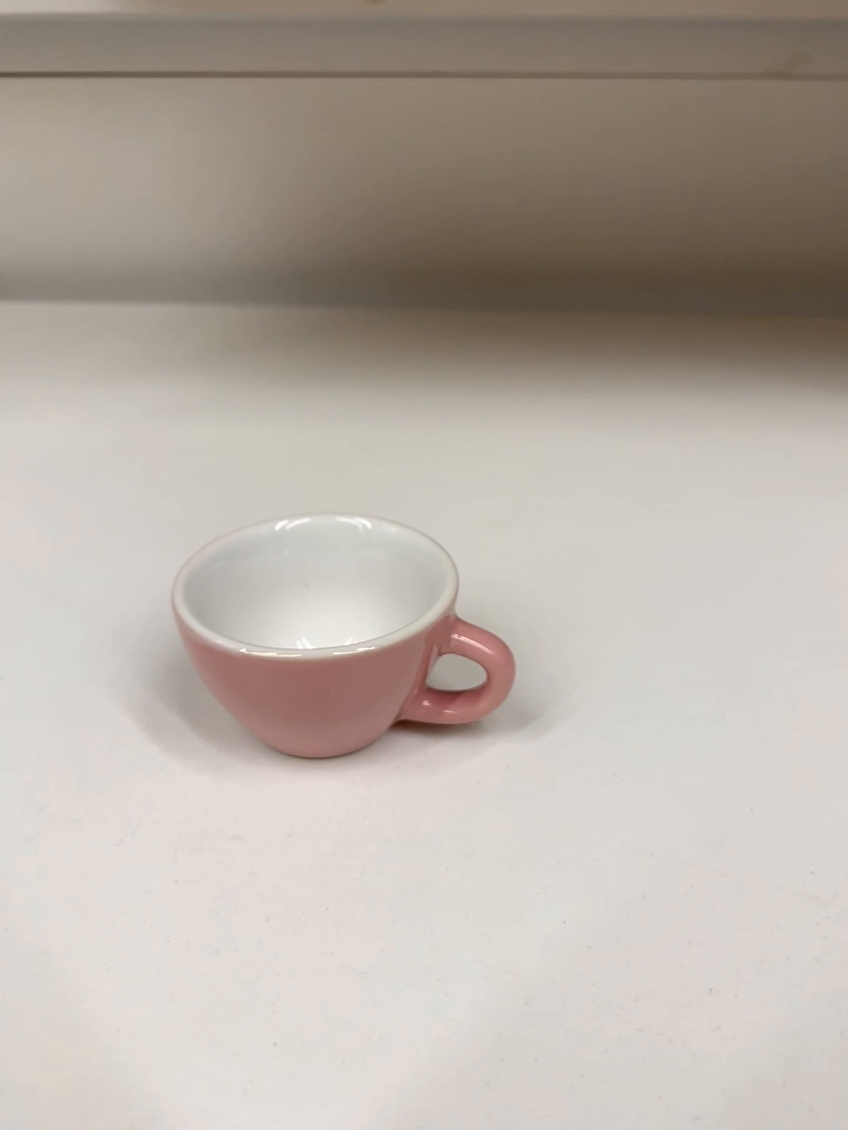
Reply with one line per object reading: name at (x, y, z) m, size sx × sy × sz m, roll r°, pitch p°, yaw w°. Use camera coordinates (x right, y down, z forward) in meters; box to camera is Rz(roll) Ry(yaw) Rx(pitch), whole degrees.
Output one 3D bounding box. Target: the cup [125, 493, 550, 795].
cup at (-0.013, 0.014, 0.174) m, size 0.070 × 0.040 × 0.040 m, roll 2°, pitch 29°, yaw 3°
